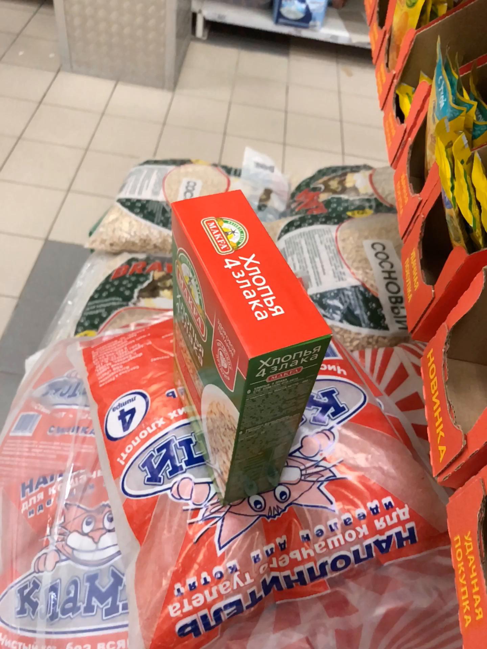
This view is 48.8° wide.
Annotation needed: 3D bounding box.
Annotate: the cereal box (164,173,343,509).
[{"bbox_3d":[-0.010,0.025,0.397,0.050,0.219,0.141,-17,57,-19],"label":"cereal box"}]
